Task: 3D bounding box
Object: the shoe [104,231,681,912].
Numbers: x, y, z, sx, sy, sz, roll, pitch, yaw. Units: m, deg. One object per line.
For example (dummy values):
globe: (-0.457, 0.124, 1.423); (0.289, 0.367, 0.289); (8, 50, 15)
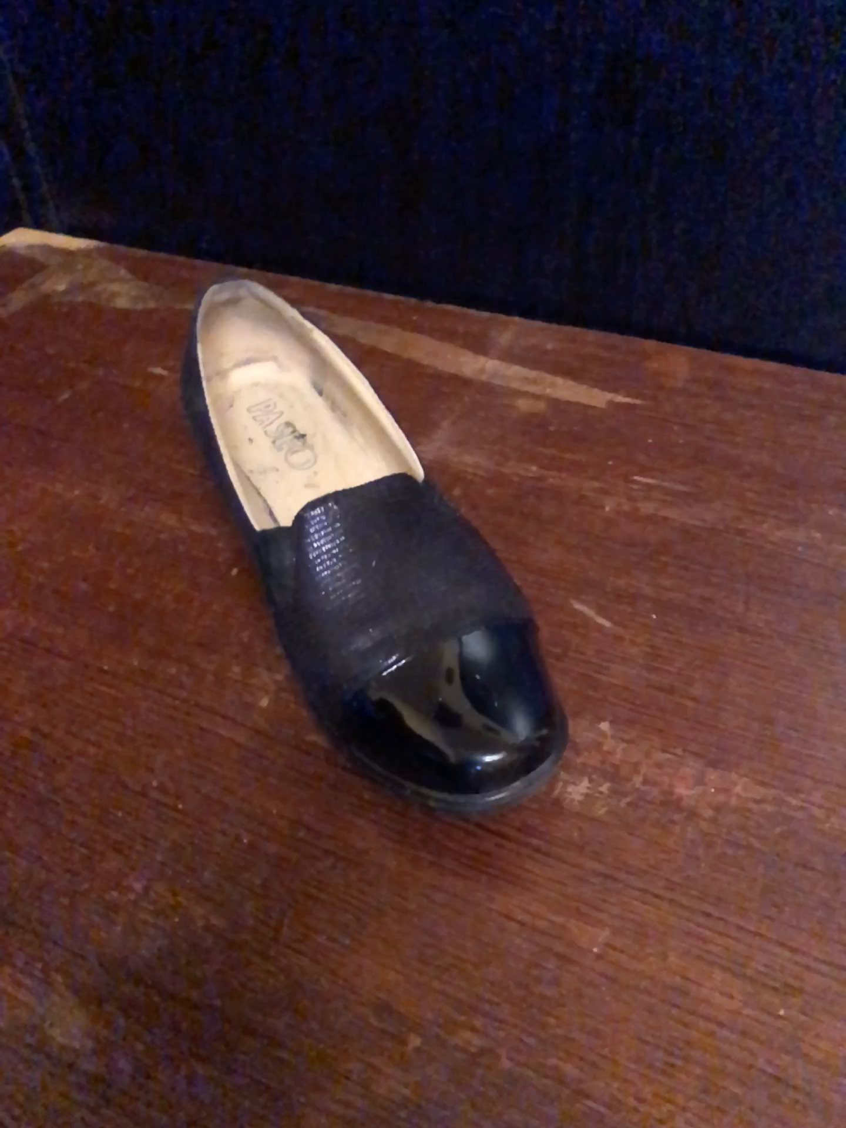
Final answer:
shoe: (-0.027, -0.020, 0.326); (0.089, 0.090, 0.236); (-21, 45, -17)
